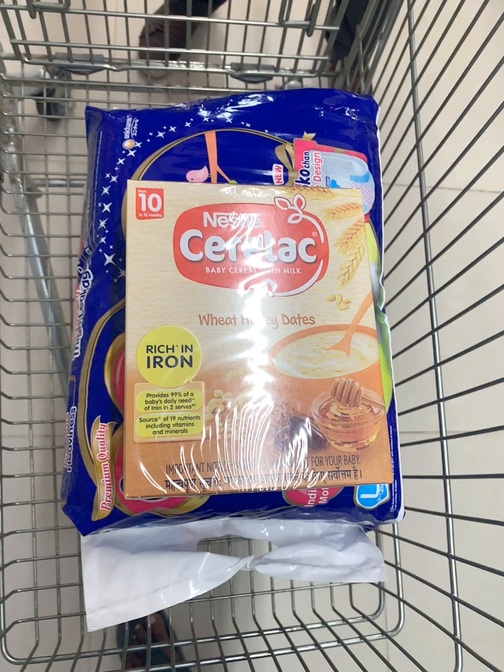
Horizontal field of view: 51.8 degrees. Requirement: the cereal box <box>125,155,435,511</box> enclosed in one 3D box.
[{"bbox_3d":[0.008,-0.003,0.312,0.160,0.060,0.190,-1,77,-10],"label":"cereal box"}]
